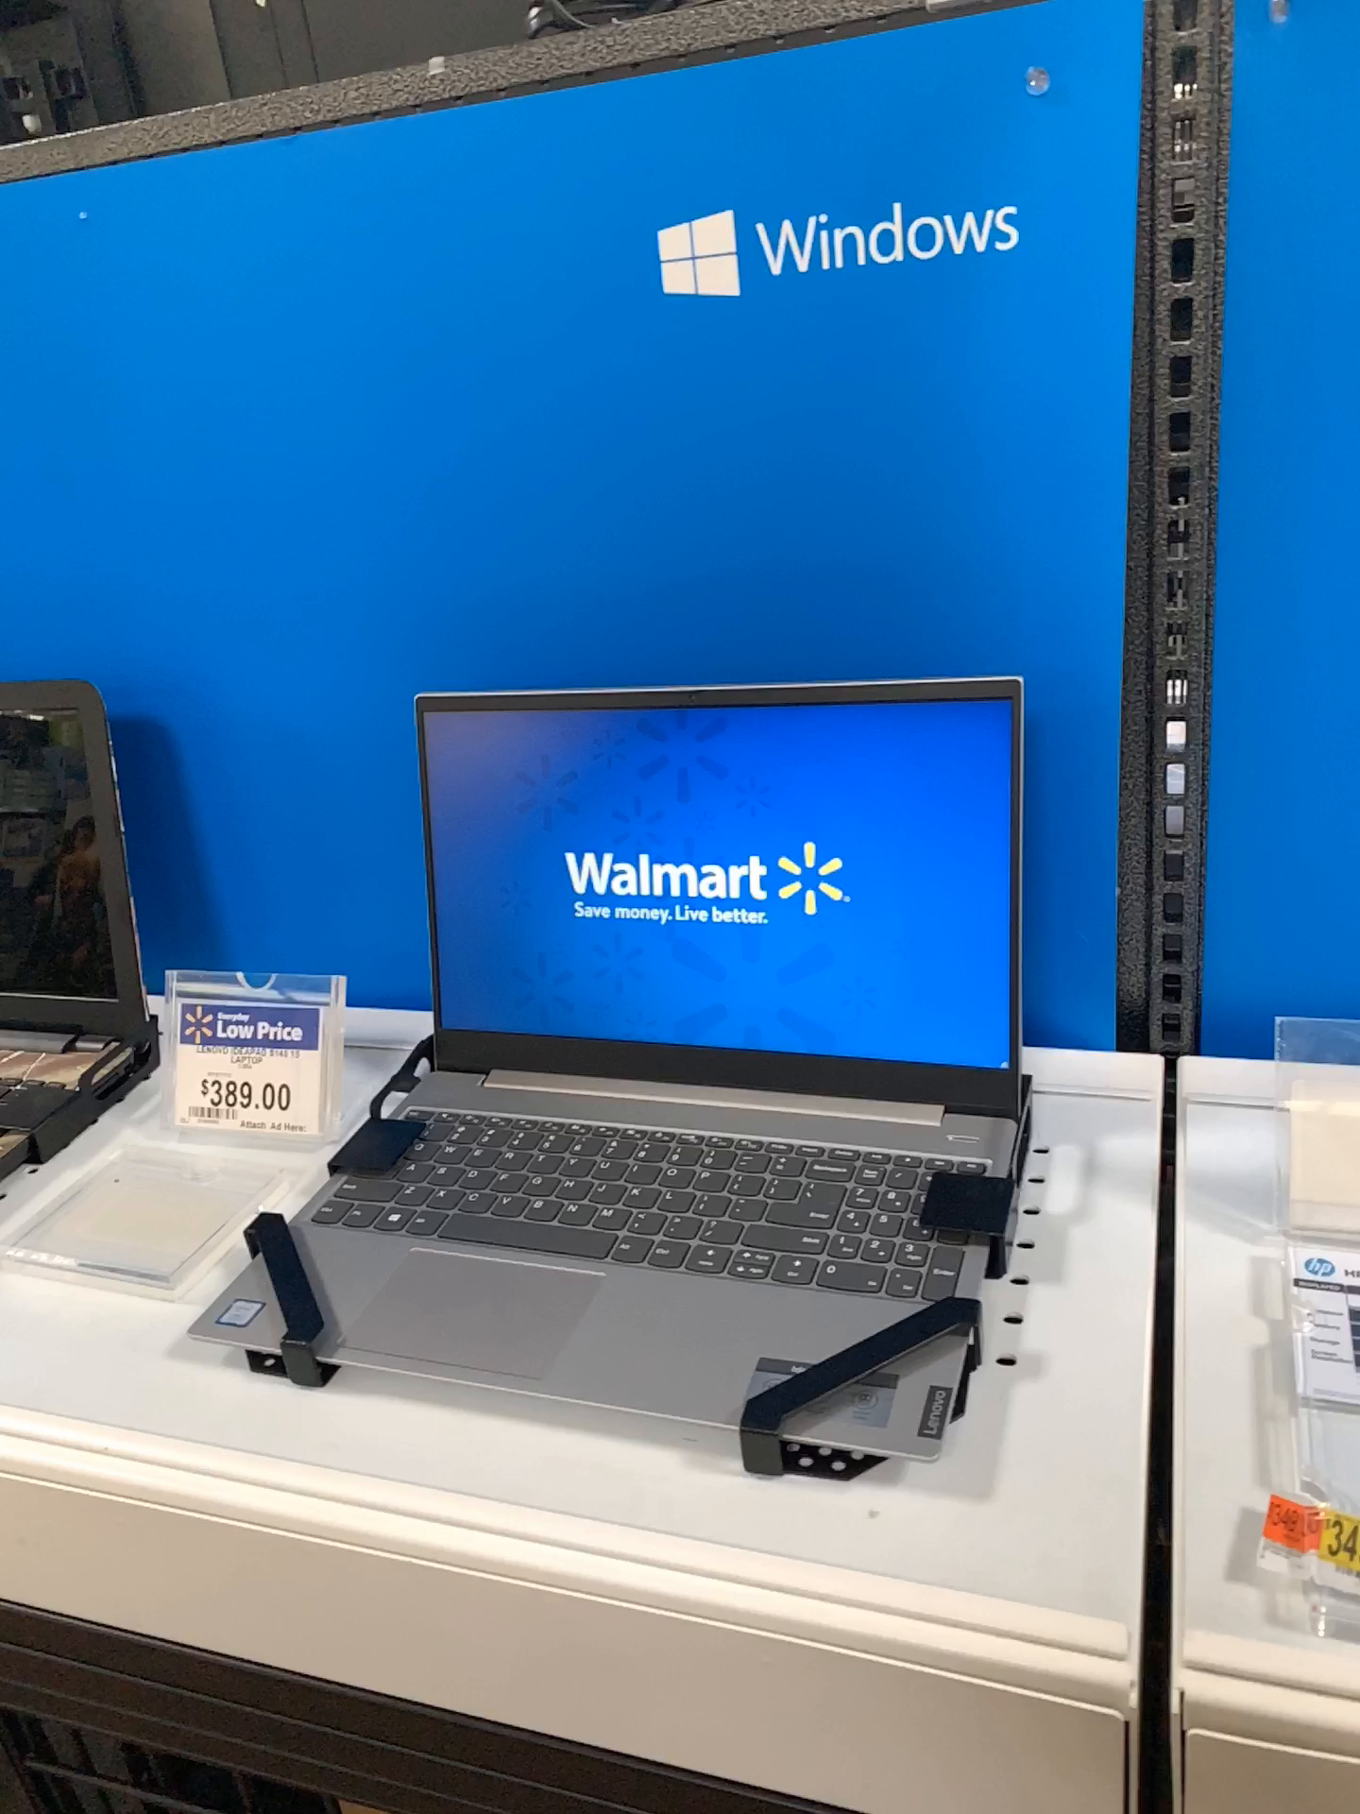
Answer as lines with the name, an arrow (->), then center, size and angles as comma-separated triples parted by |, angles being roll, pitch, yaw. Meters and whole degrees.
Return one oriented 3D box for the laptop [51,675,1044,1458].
laptop -> -0.026, 0.044, 0.670 | 0.351, 0.217, 0.299 | 1, 25, 21
